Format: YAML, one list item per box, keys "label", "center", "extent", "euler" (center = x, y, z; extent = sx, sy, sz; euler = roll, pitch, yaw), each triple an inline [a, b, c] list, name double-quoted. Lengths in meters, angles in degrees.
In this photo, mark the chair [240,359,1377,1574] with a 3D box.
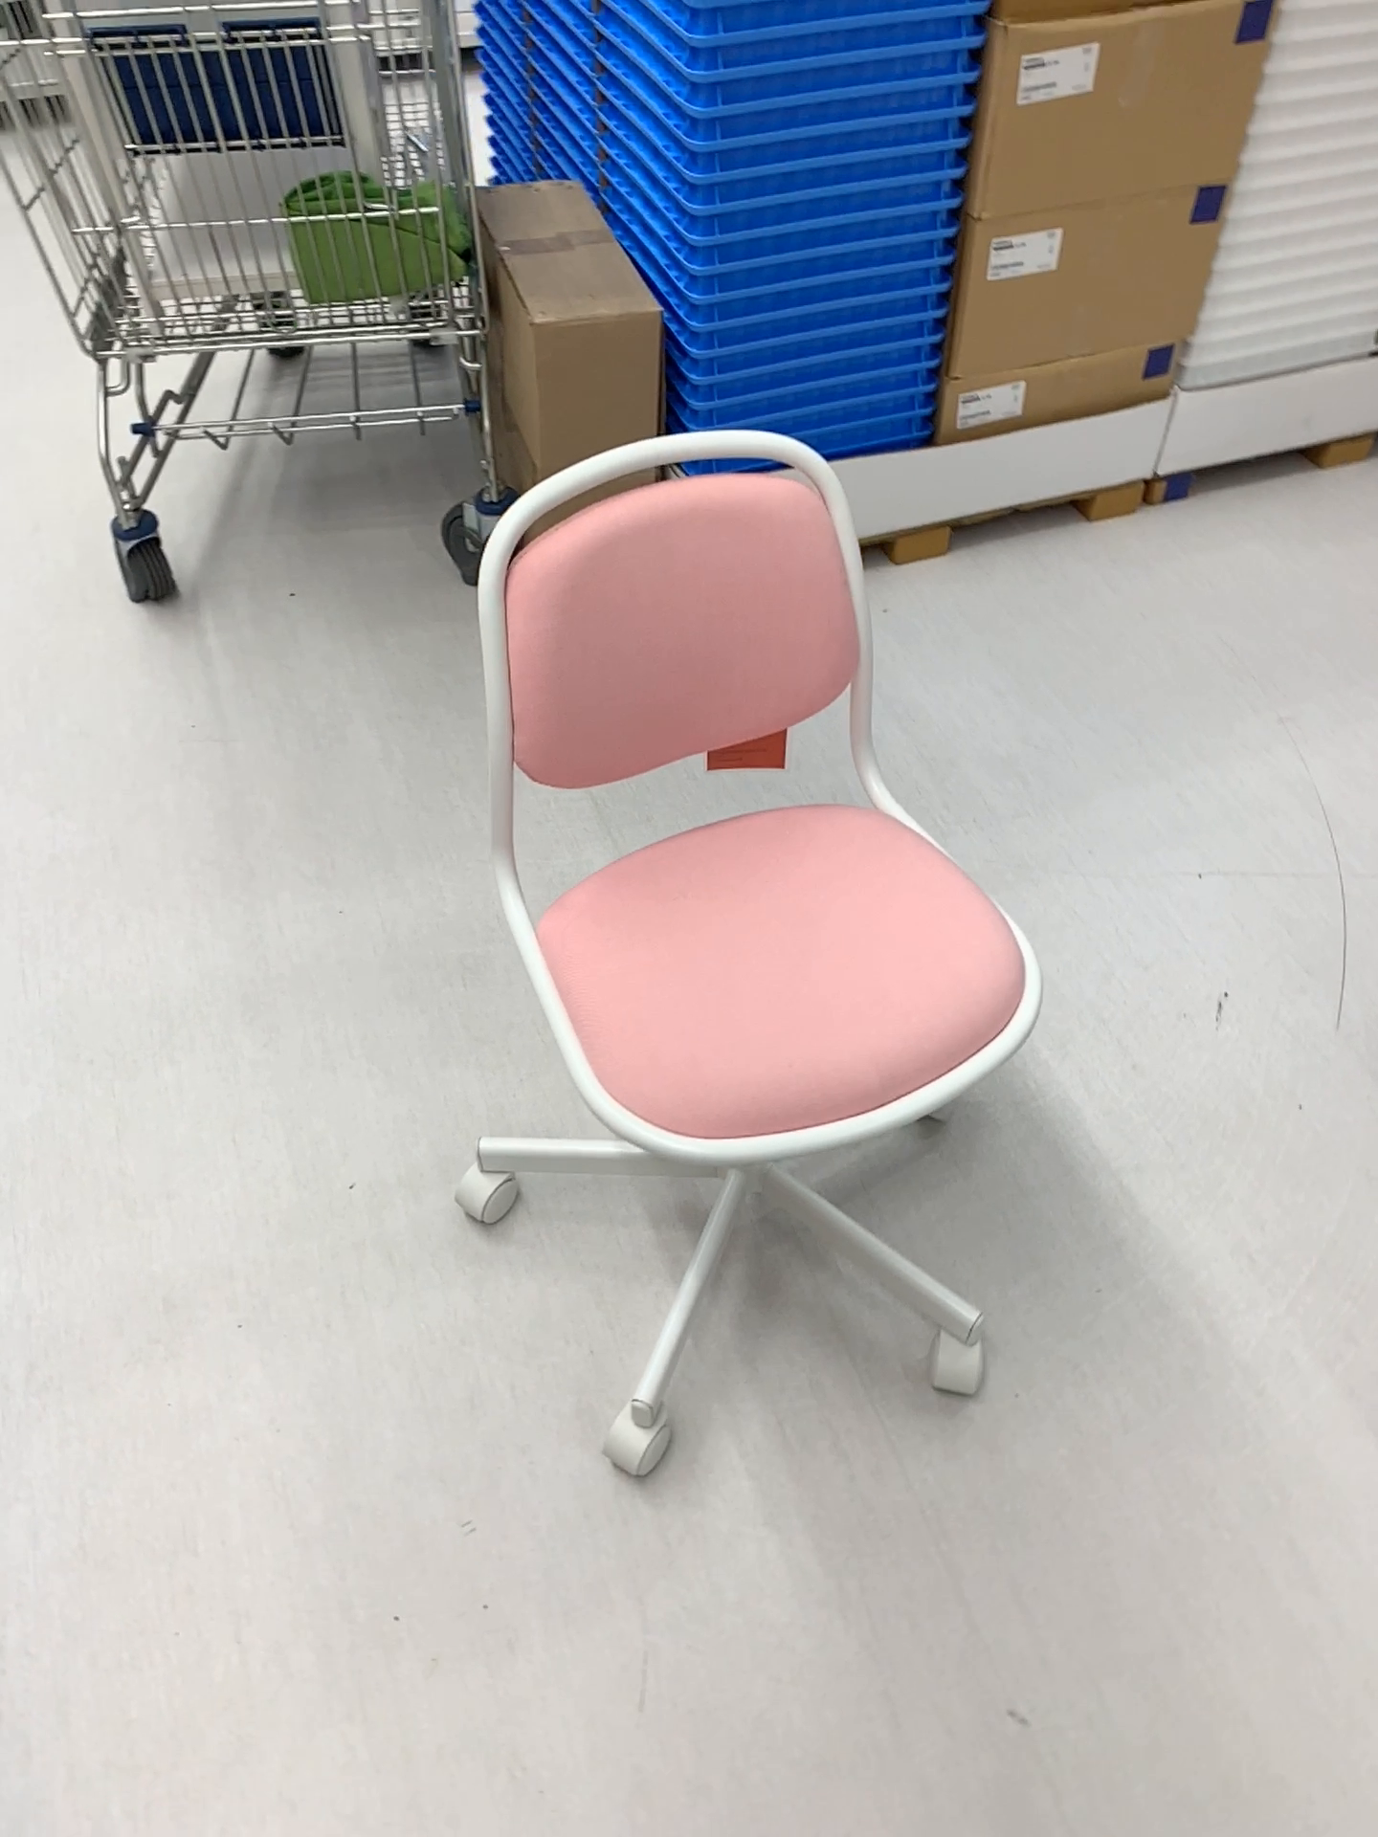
- label: "chair"
  center: [0.047, 0.047, 1.146]
  extent: [0.560, 0.698, 0.532]
  euler: [-17, 49, -15]
